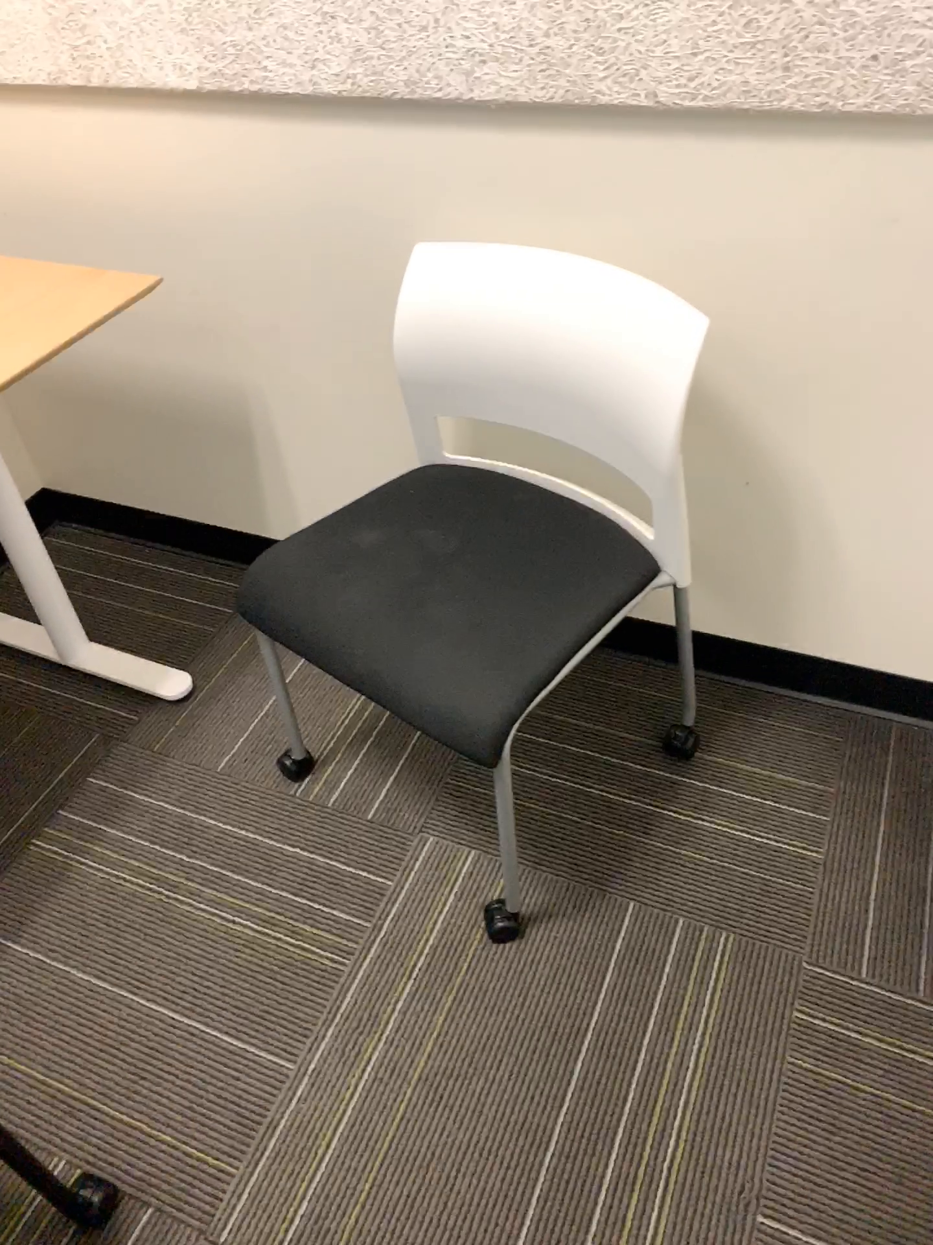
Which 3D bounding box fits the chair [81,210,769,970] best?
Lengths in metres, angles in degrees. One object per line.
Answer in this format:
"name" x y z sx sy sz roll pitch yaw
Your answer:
"chair" -0.020 -0.064 1.340 0.583 0.736 0.541 28 52 32
